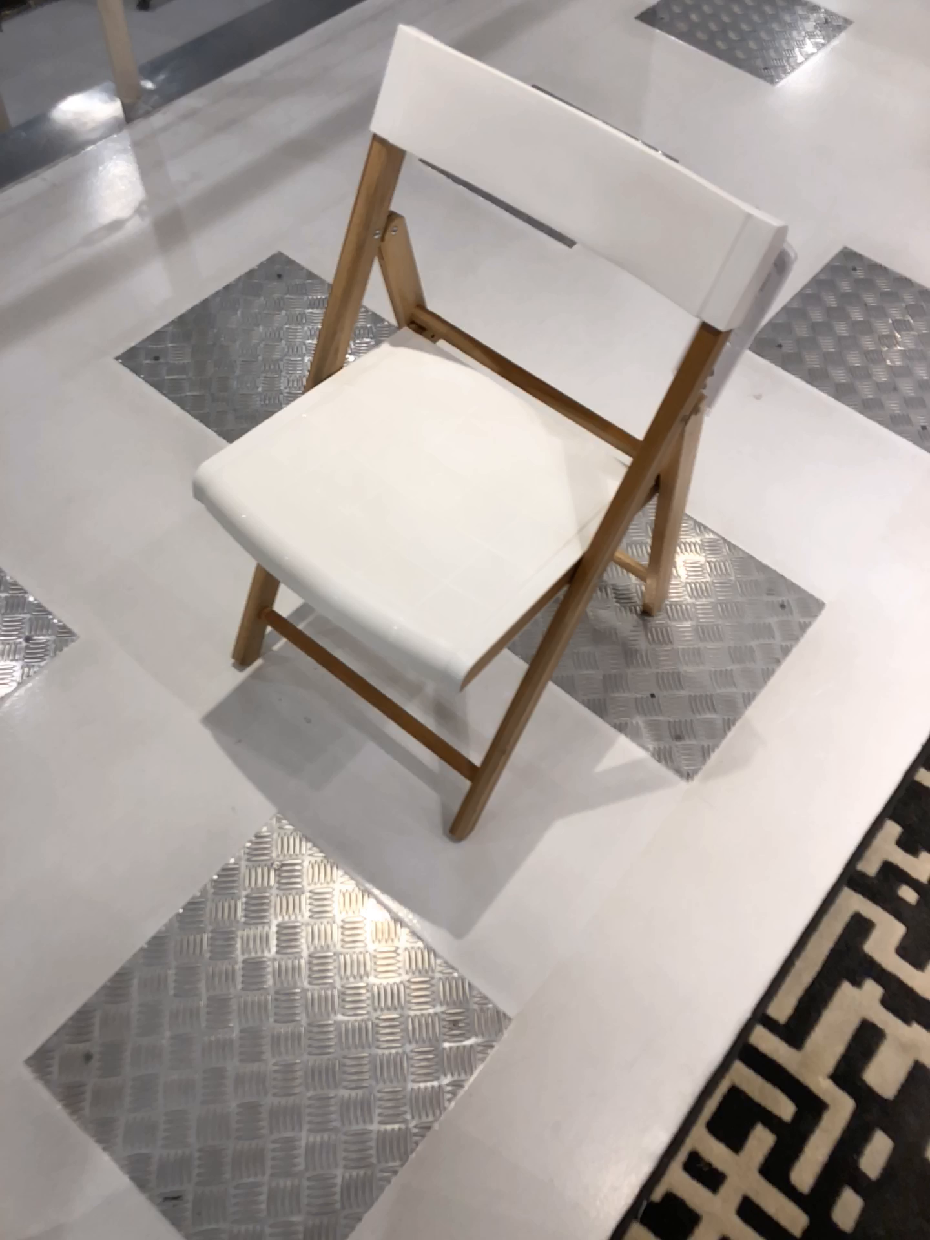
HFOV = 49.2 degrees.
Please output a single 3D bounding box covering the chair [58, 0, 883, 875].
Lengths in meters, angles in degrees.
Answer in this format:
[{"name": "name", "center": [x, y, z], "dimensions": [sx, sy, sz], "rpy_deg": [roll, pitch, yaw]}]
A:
[{"name": "chair", "center": [0.006, -0.177, 1.170], "dimensions": [0.470, 0.707, 0.552], "rpy_deg": [35, 62, 17]}]
